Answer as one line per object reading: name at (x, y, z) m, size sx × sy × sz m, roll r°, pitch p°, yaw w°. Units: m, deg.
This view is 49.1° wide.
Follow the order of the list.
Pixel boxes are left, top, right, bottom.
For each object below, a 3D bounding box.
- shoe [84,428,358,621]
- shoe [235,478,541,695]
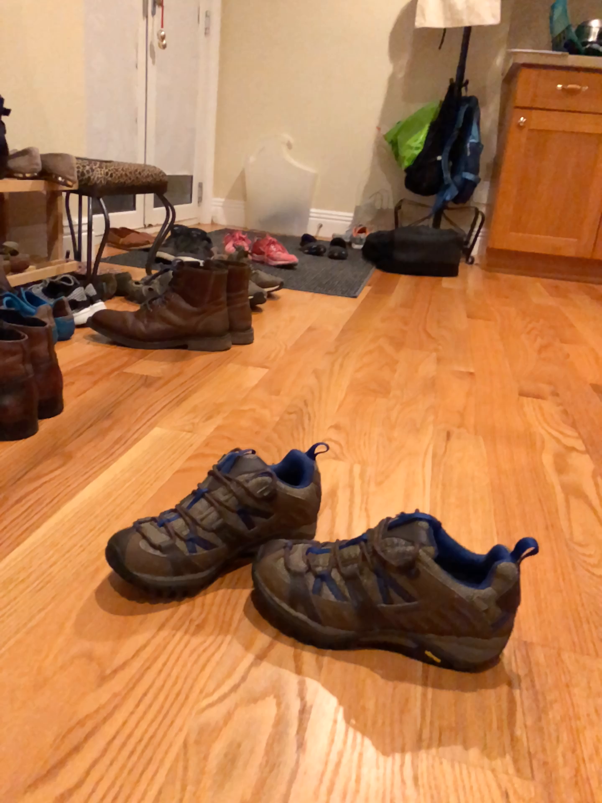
shoe at (-0.073, 0.108, 0.654) m, size 0.252 × 0.094 × 0.097 m, roll -10°, pitch 25°, yaw -38°
shoe at (0.073, 0.157, 0.587) m, size 0.240 × 0.106 × 0.095 m, roll 9°, pitch 20°, yaw 10°
